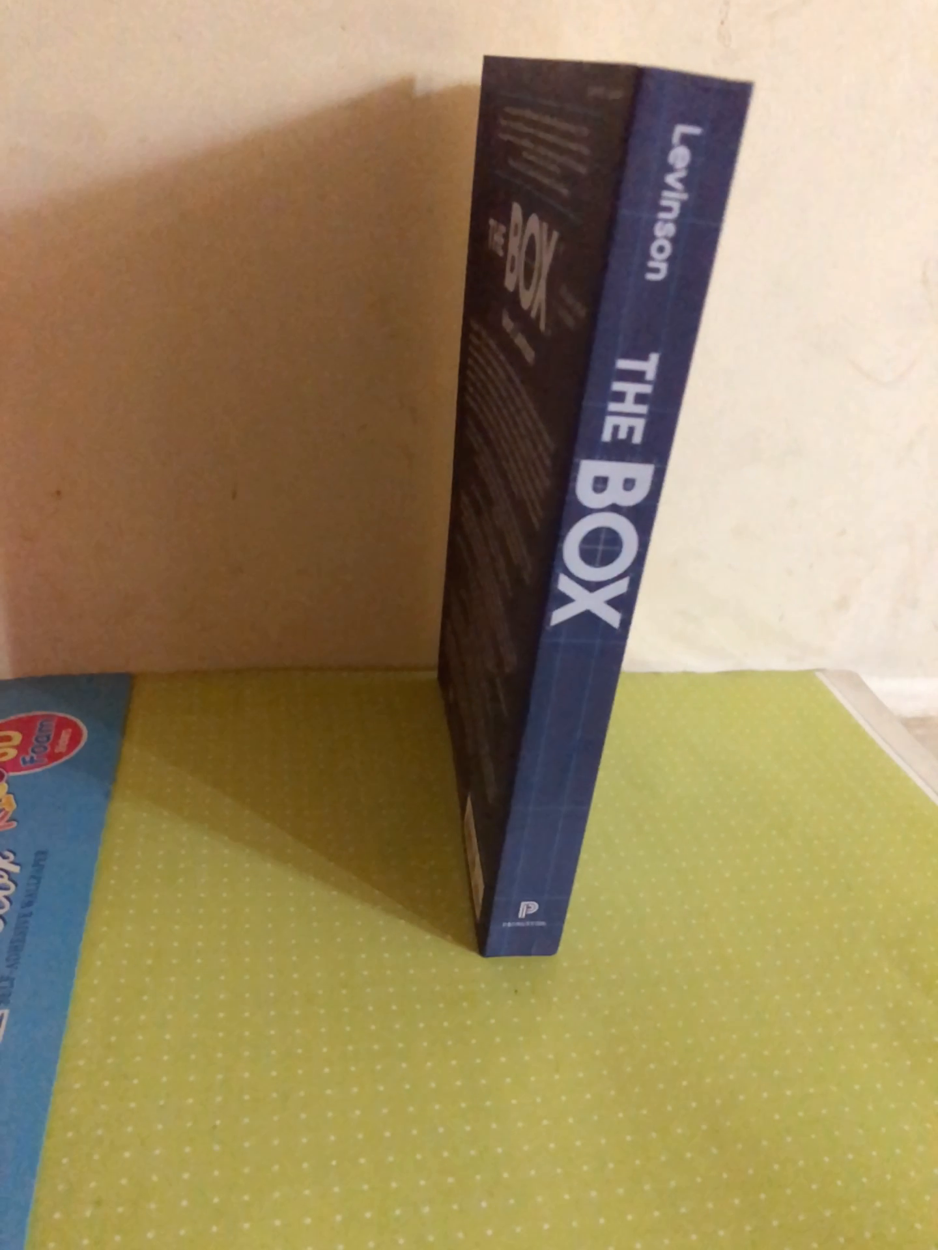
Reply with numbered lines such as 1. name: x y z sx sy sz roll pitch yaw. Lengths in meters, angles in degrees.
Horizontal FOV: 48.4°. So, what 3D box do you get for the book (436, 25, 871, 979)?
1. book: 0.029 -0.045 0.311 0.050 0.219 0.181 4 26 -6
